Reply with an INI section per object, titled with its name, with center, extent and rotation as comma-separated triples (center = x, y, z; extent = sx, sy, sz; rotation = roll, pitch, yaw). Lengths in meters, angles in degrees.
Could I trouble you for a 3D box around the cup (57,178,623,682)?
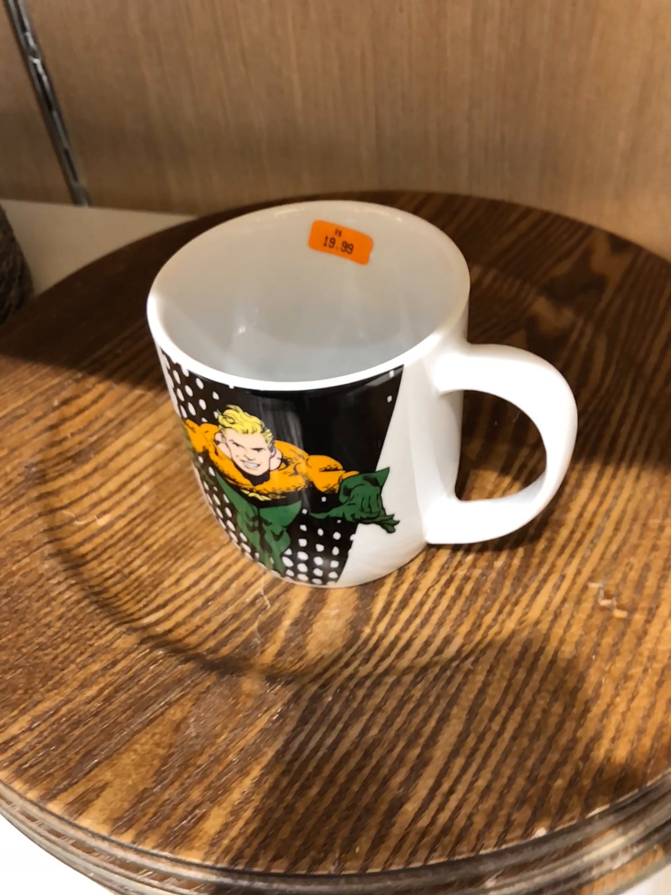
[cup]
center = 0.008, -0.012, 0.225
extent = 0.120, 0.089, 0.091
rotation = 14, 47, 21
